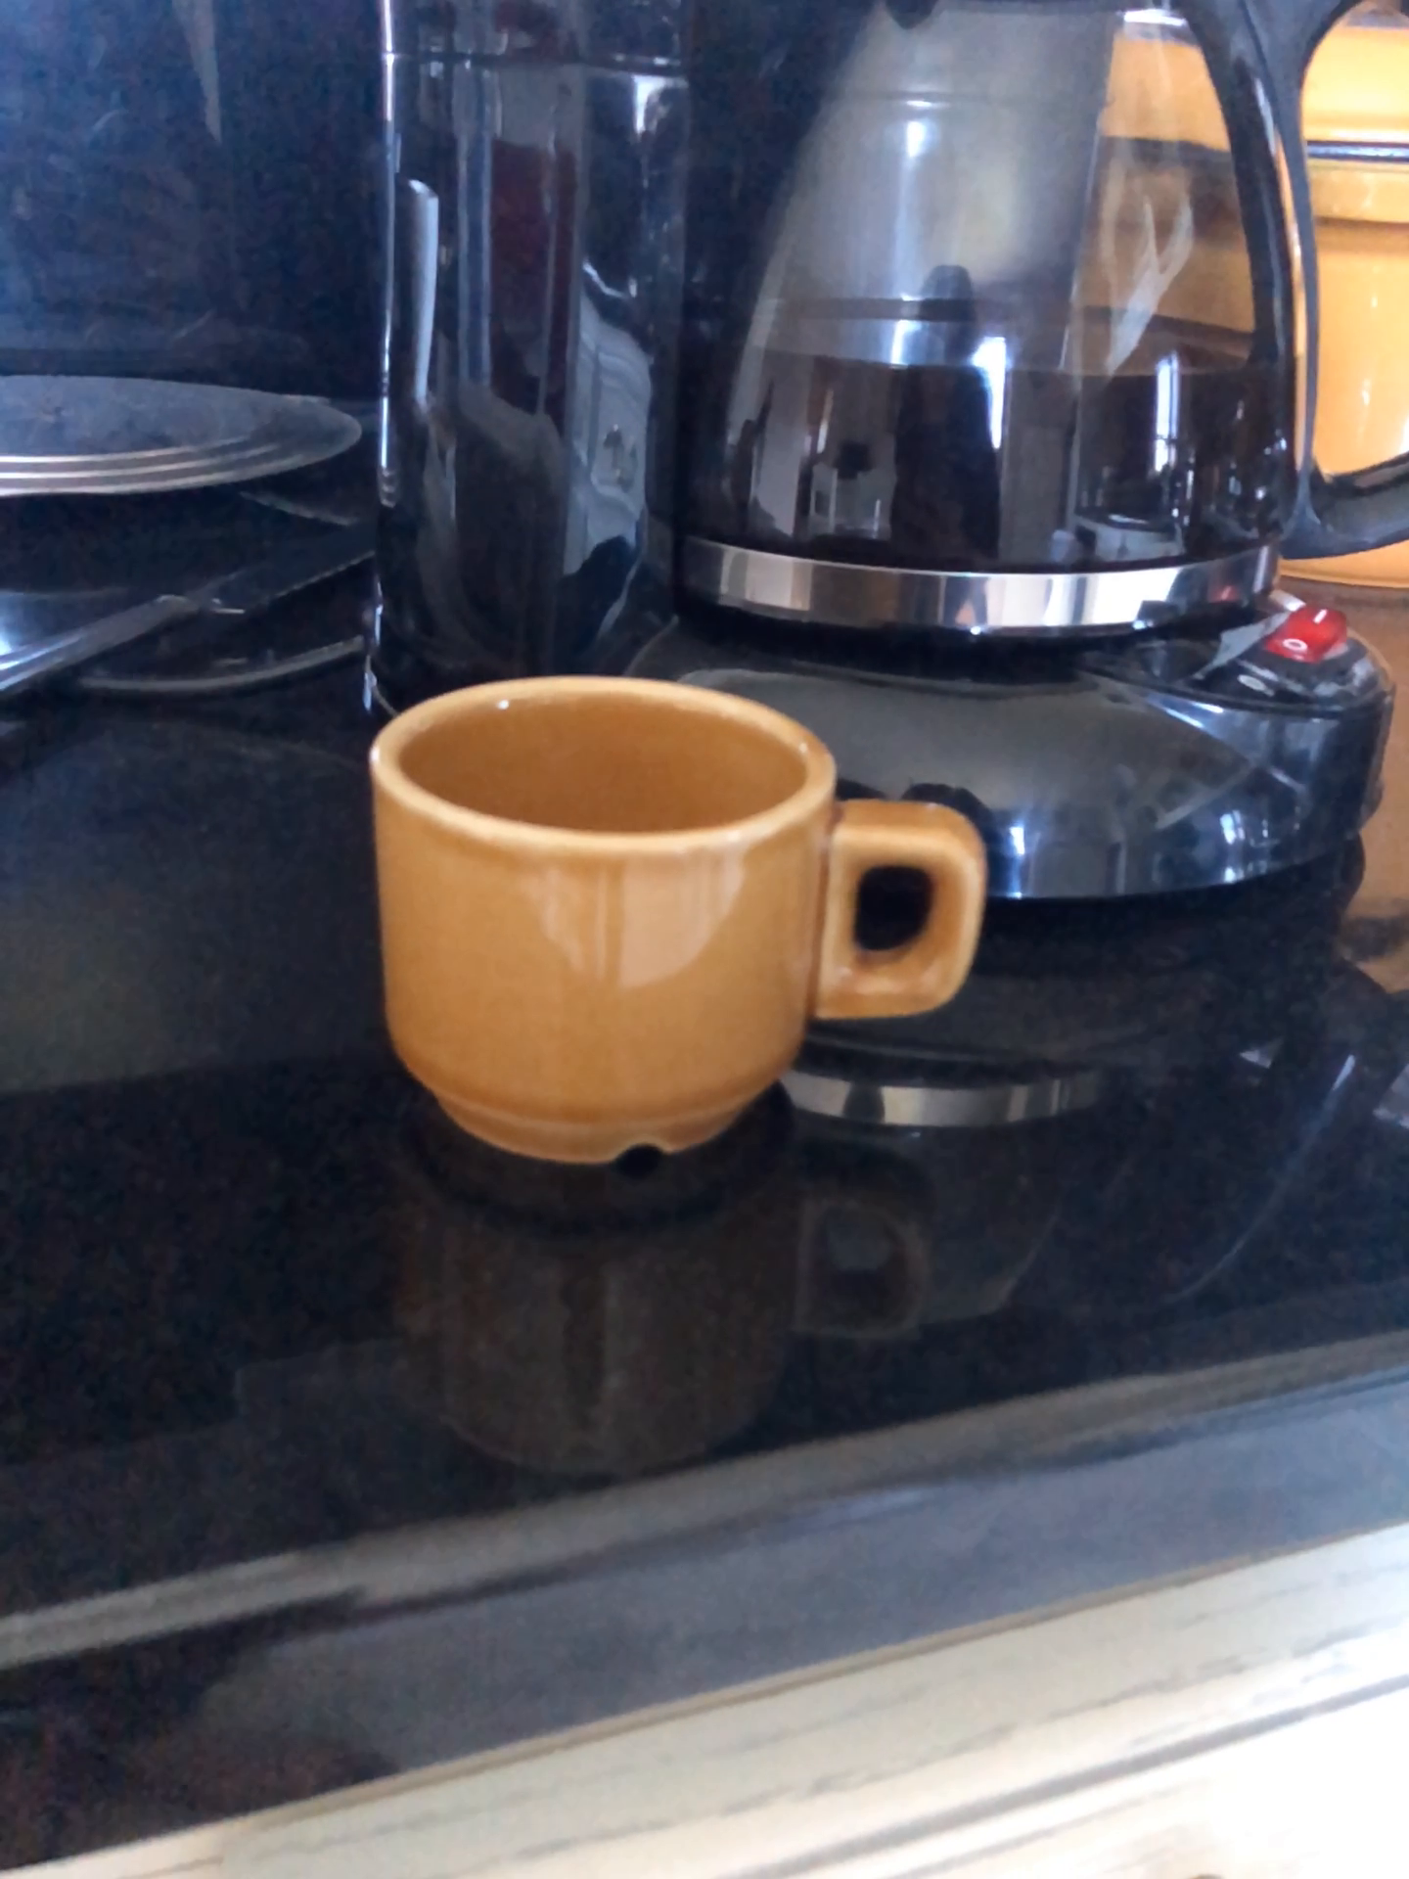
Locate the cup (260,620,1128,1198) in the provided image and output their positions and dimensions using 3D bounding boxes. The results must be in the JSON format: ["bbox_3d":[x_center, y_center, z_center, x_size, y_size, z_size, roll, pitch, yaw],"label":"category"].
[{"bbox_3d":[0.000,-0.008,0.220,0.100,0.050,0.070,3,28,2],"label":"cup"}]
